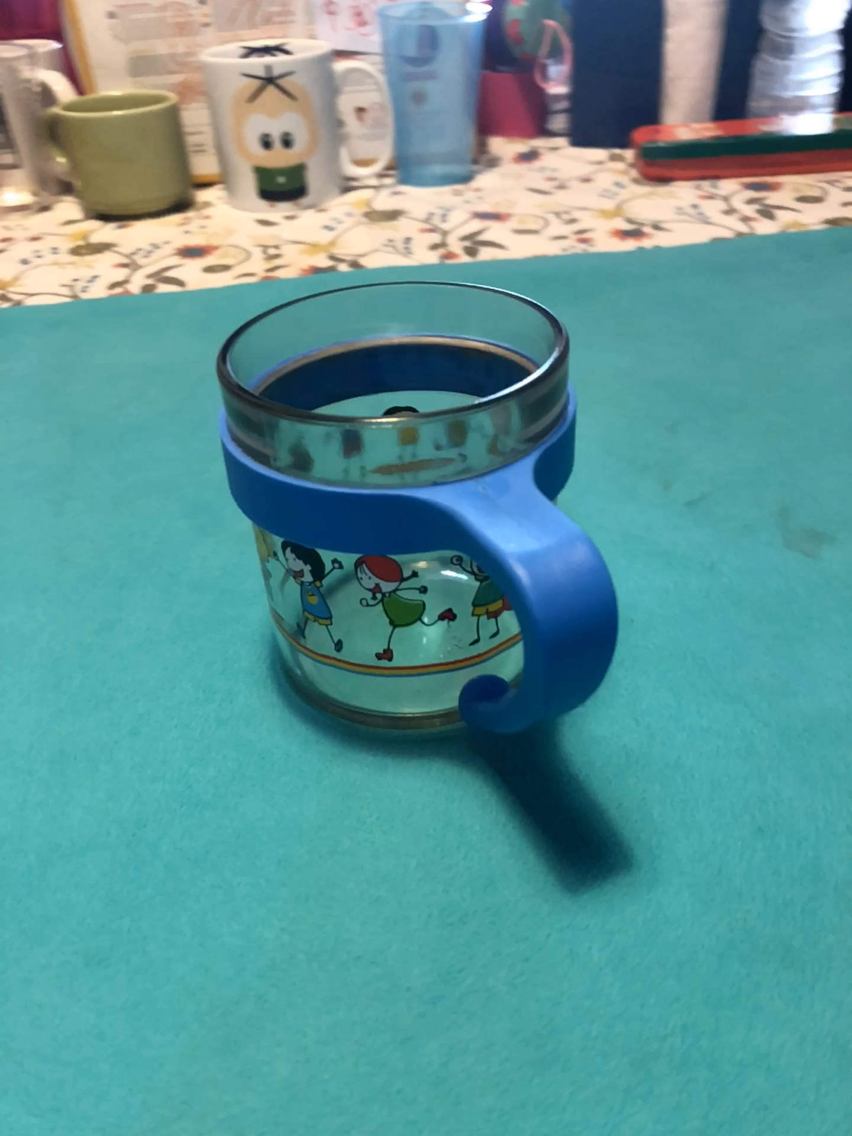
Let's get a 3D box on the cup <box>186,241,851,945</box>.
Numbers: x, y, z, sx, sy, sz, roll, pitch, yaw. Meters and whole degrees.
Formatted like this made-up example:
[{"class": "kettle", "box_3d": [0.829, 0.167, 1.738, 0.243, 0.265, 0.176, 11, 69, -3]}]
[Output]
[{"class": "cup", "box_3d": [0.010, -0.008, 0.226, 0.090, 0.089, 0.131, -17, 38, -18]}]
